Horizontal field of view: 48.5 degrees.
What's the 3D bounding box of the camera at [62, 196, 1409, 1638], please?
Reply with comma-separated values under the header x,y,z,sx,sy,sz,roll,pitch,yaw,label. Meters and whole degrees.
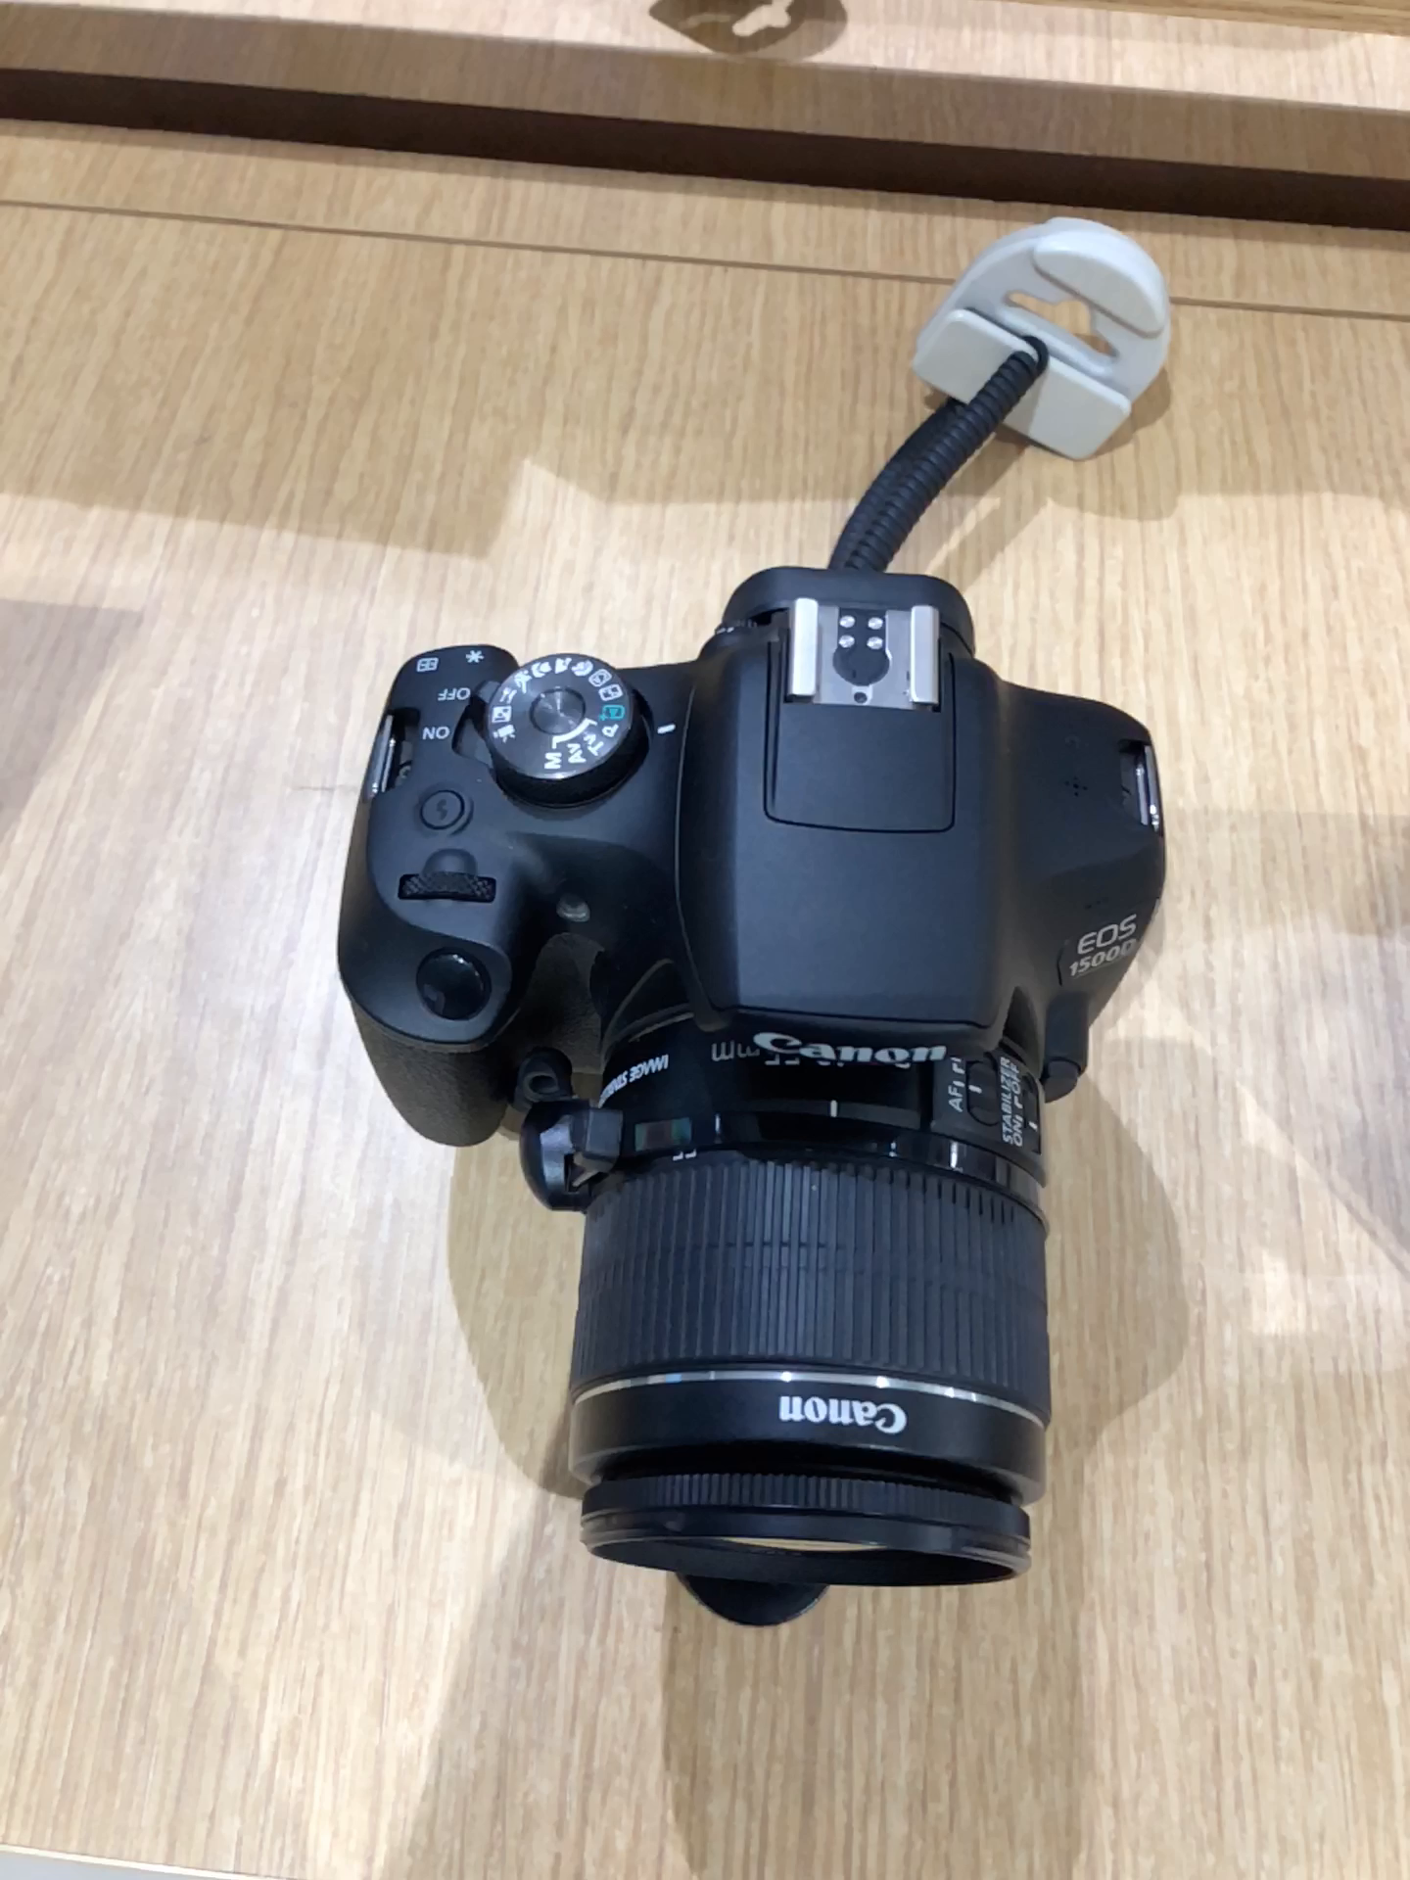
x,y,z,sx,sy,sz,roll,pitch,yaw,label
0.011,-0.004,0.237,0.140,0.100,0.191,2,61,-1,camera
